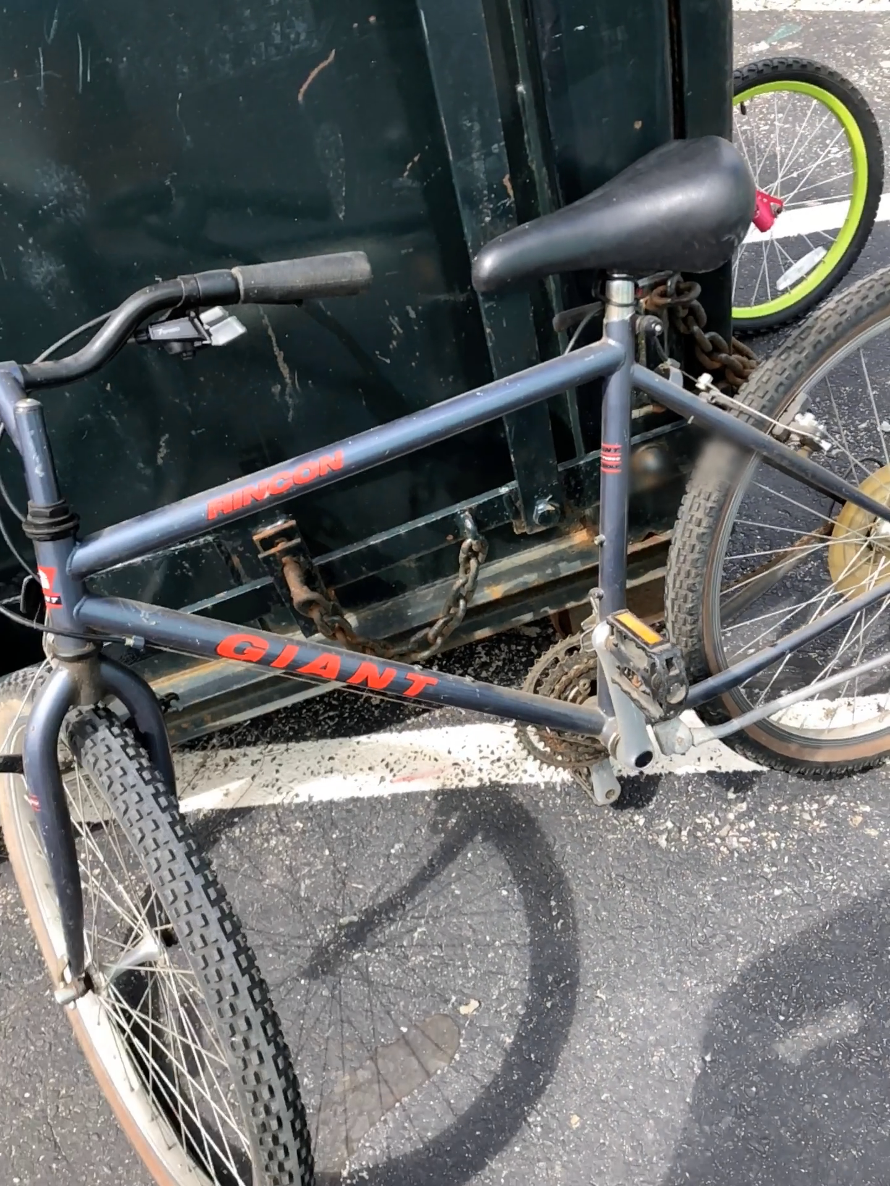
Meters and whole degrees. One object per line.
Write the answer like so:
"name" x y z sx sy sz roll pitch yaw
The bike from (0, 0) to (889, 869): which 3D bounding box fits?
"bike" -0.127 -0.226 1.125 1.097 0.833 0.638 -15 50 0
